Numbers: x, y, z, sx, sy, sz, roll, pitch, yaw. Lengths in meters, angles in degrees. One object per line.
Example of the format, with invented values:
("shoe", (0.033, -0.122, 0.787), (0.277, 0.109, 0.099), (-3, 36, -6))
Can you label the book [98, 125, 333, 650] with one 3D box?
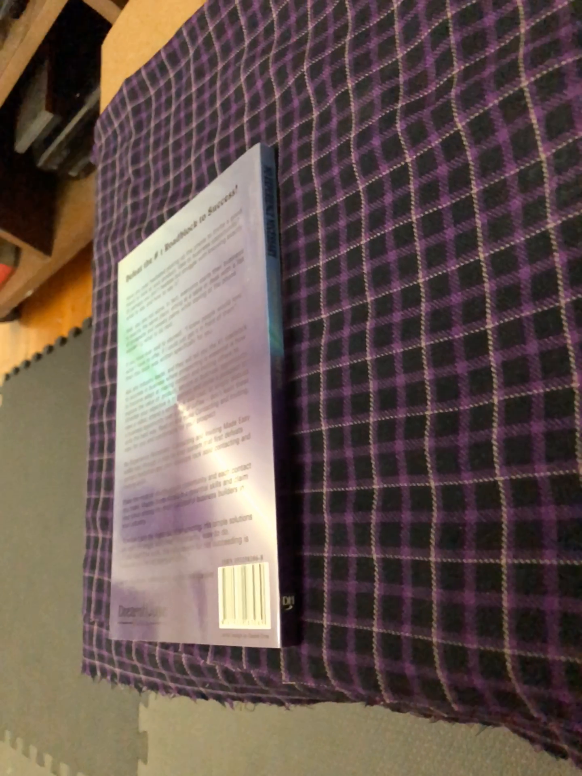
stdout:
("book", (-0.050, 0.009, 0.324), (0.161, 0.020, 0.220), (-22, 65, 46))
